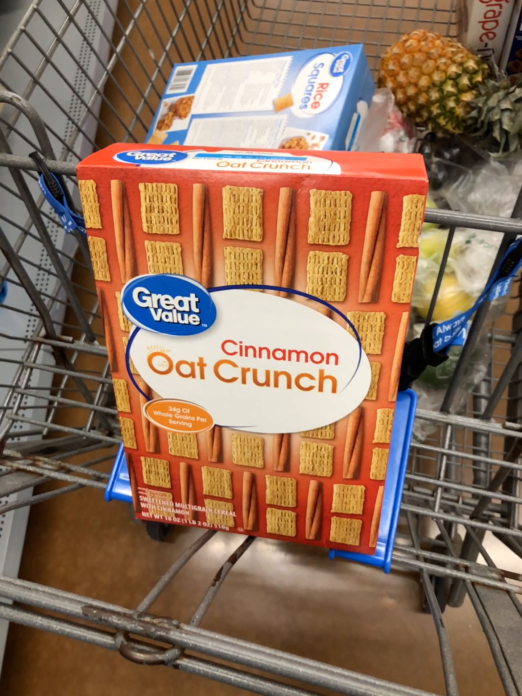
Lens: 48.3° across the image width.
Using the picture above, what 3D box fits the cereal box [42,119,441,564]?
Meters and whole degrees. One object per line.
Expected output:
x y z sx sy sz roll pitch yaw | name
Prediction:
-0.009 0.006 0.387 0.200 0.280 0.070 6 32 9 | cereal box
